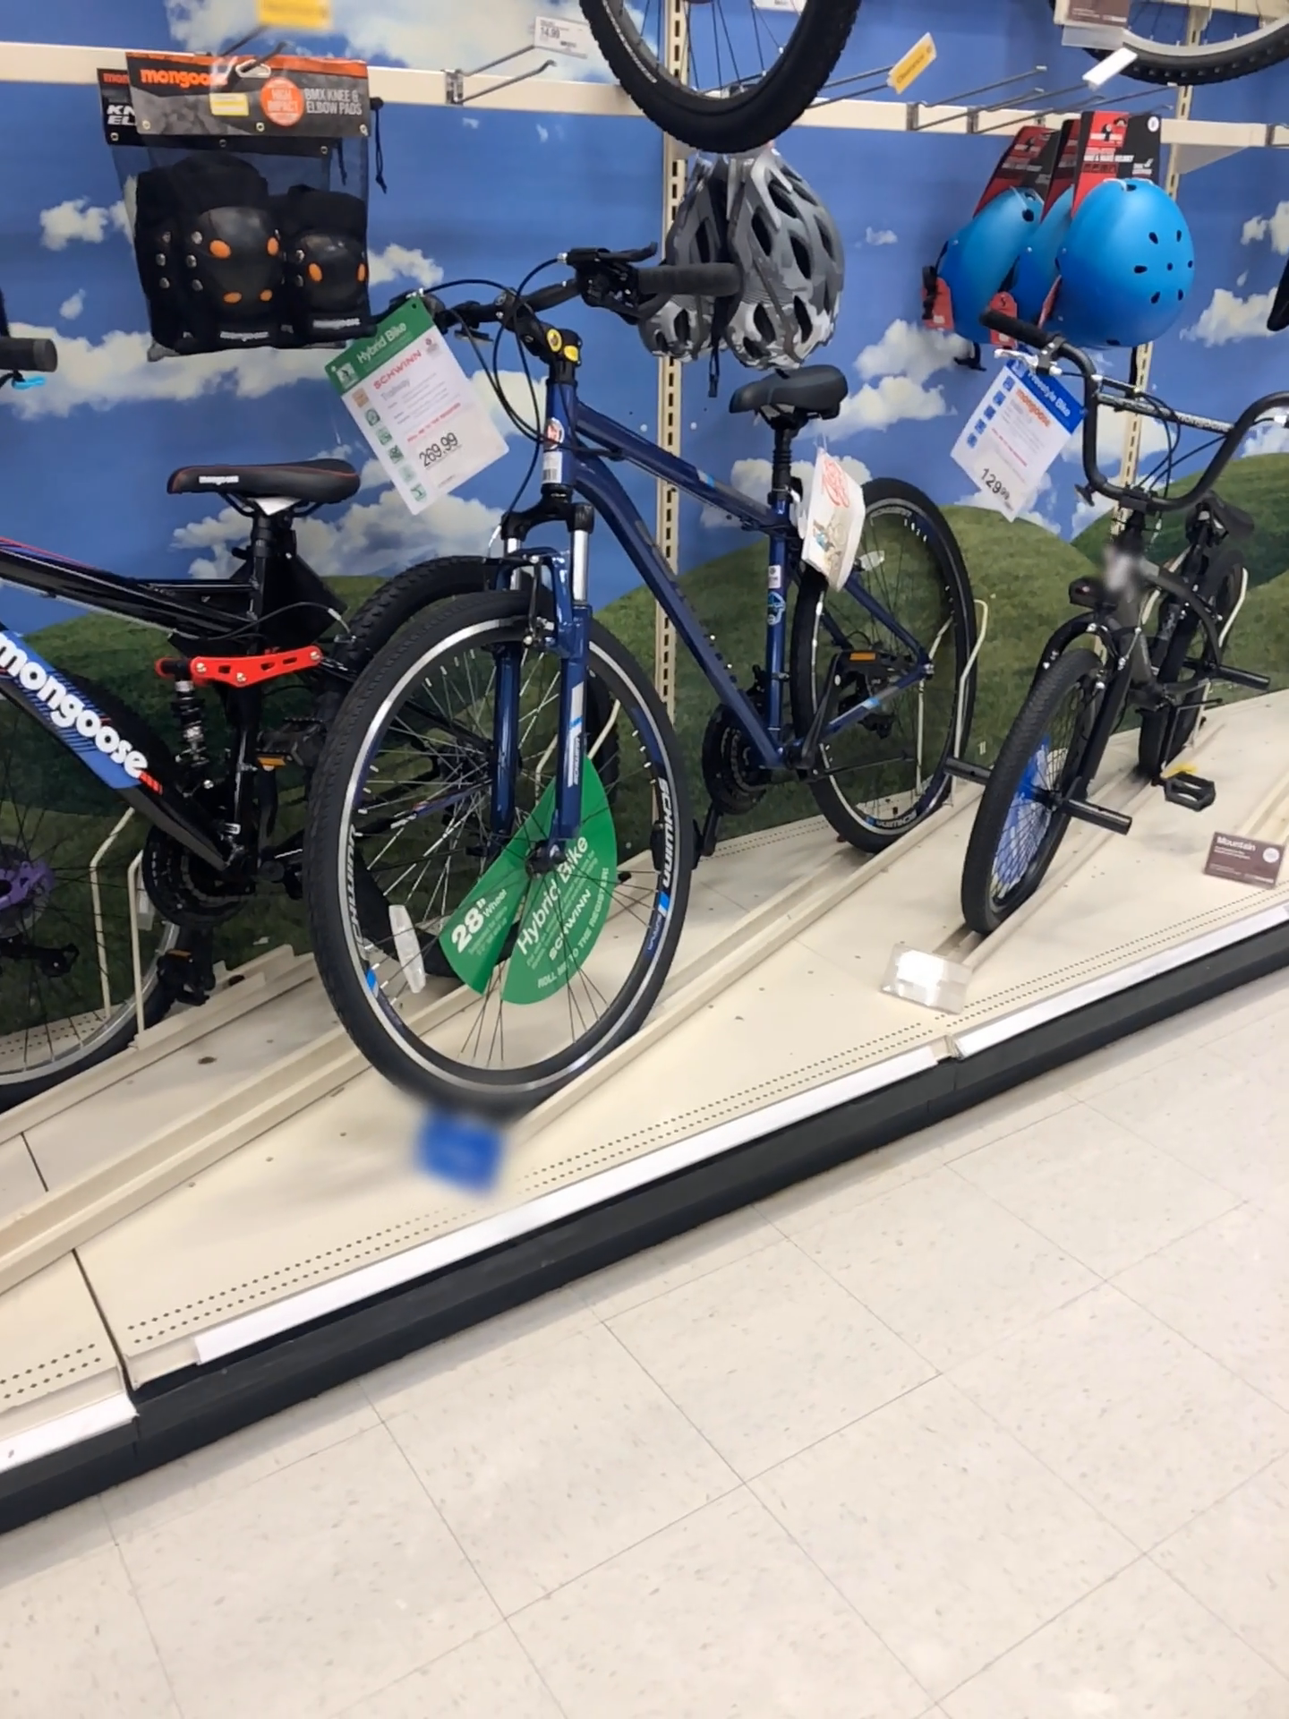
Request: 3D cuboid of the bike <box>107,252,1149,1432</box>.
[{"bbox_3d":[0.156,-0.263,2.136,0.530,1.098,1.743,16,31,31],"label":"bike"}]
